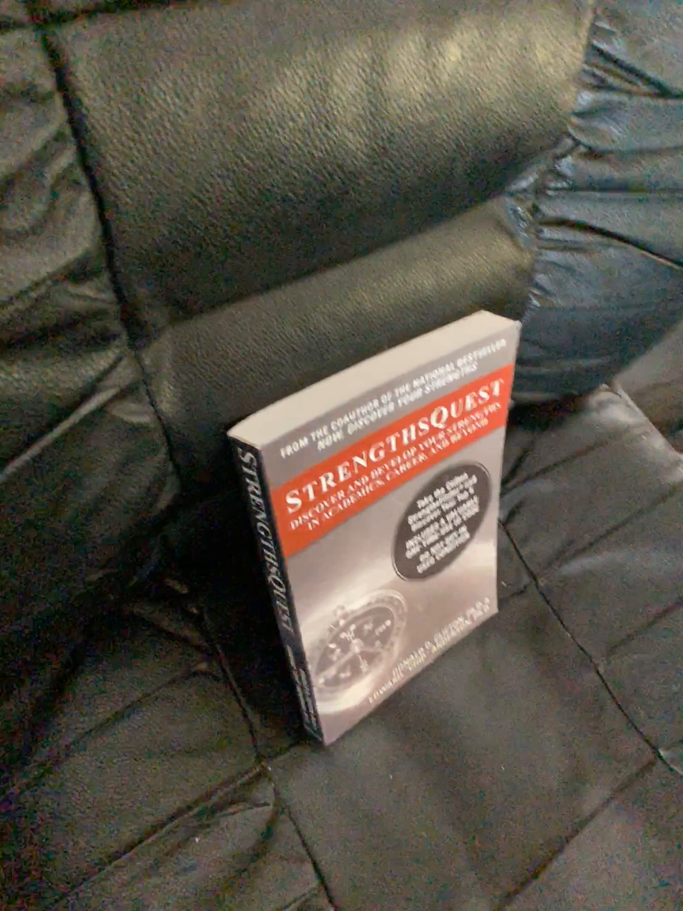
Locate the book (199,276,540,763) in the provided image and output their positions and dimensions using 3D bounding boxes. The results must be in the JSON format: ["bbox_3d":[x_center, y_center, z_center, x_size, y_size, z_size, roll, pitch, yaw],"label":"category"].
[{"bbox_3d":[0.031,0.046,0.387,0.170,0.240,0.030,-30,45,-24],"label":"book"}]
